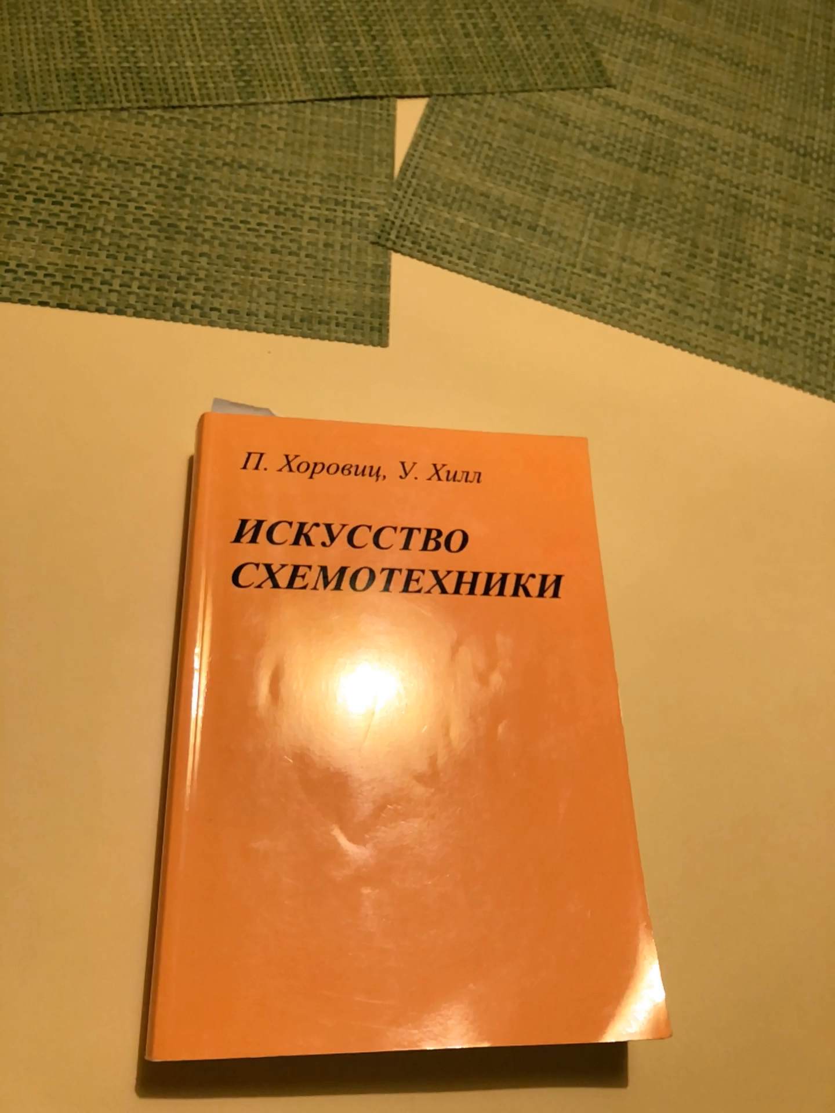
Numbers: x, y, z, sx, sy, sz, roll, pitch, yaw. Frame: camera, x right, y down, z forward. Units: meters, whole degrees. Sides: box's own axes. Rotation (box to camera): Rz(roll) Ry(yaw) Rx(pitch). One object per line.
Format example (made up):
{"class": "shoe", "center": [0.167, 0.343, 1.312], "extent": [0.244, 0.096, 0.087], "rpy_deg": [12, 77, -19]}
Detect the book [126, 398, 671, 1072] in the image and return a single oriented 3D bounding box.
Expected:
{"class": "book", "center": [-0.009, 0.058, 0.358], "extent": [0.171, 0.048, 0.238], "rpy_deg": [3, 64, -10]}
